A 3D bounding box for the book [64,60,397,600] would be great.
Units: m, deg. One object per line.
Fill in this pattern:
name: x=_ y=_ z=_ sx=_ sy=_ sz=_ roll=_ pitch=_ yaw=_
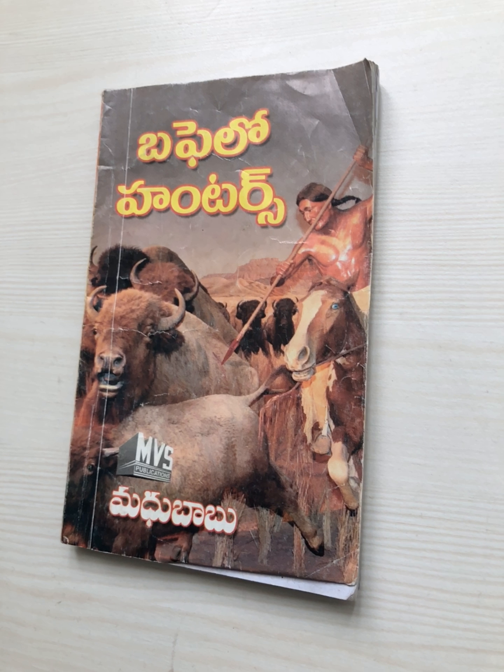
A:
book: x=-0.008 y=-0.004 z=0.182 sx=0.100 sy=0.020 sz=0.150 roll=2 pitch=88 yaw=18
